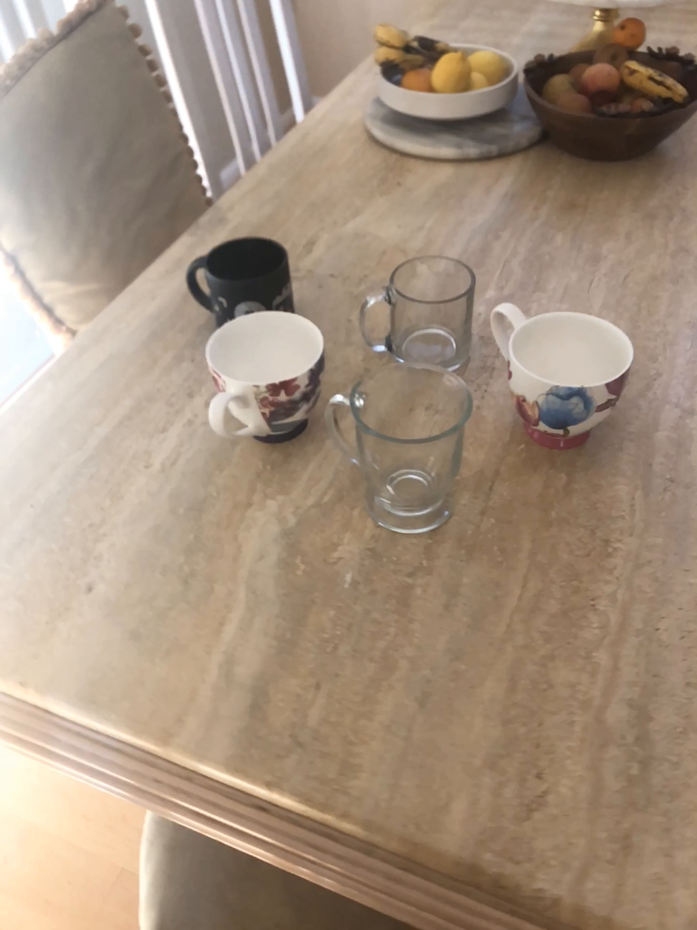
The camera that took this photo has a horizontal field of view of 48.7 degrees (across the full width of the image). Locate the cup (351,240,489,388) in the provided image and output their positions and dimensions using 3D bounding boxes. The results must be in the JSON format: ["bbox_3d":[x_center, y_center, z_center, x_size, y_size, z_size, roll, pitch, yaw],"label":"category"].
[{"bbox_3d":[0.073,-0.156,0.803,0.130,0.119,0.091,0,46,5],"label":"cup"}]

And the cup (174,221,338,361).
[{"bbox_3d":[-0.099,-0.197,0.864,0.140,0.089,0.101,16,49,19],"label":"cup"}]

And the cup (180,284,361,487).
[{"bbox_3d":[-0.063,-0.077,0.706,0.110,0.099,0.151,9,47,13],"label":"cup"}]

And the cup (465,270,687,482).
[{"bbox_3d":[0.202,-0.087,0.714,0.110,0.099,0.151,-31,51,-23],"label":"cup"}]

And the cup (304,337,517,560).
[{"bbox_3d":[0.054,-0.016,0.648,0.140,0.119,0.101,16,49,19],"label":"cup"}]
